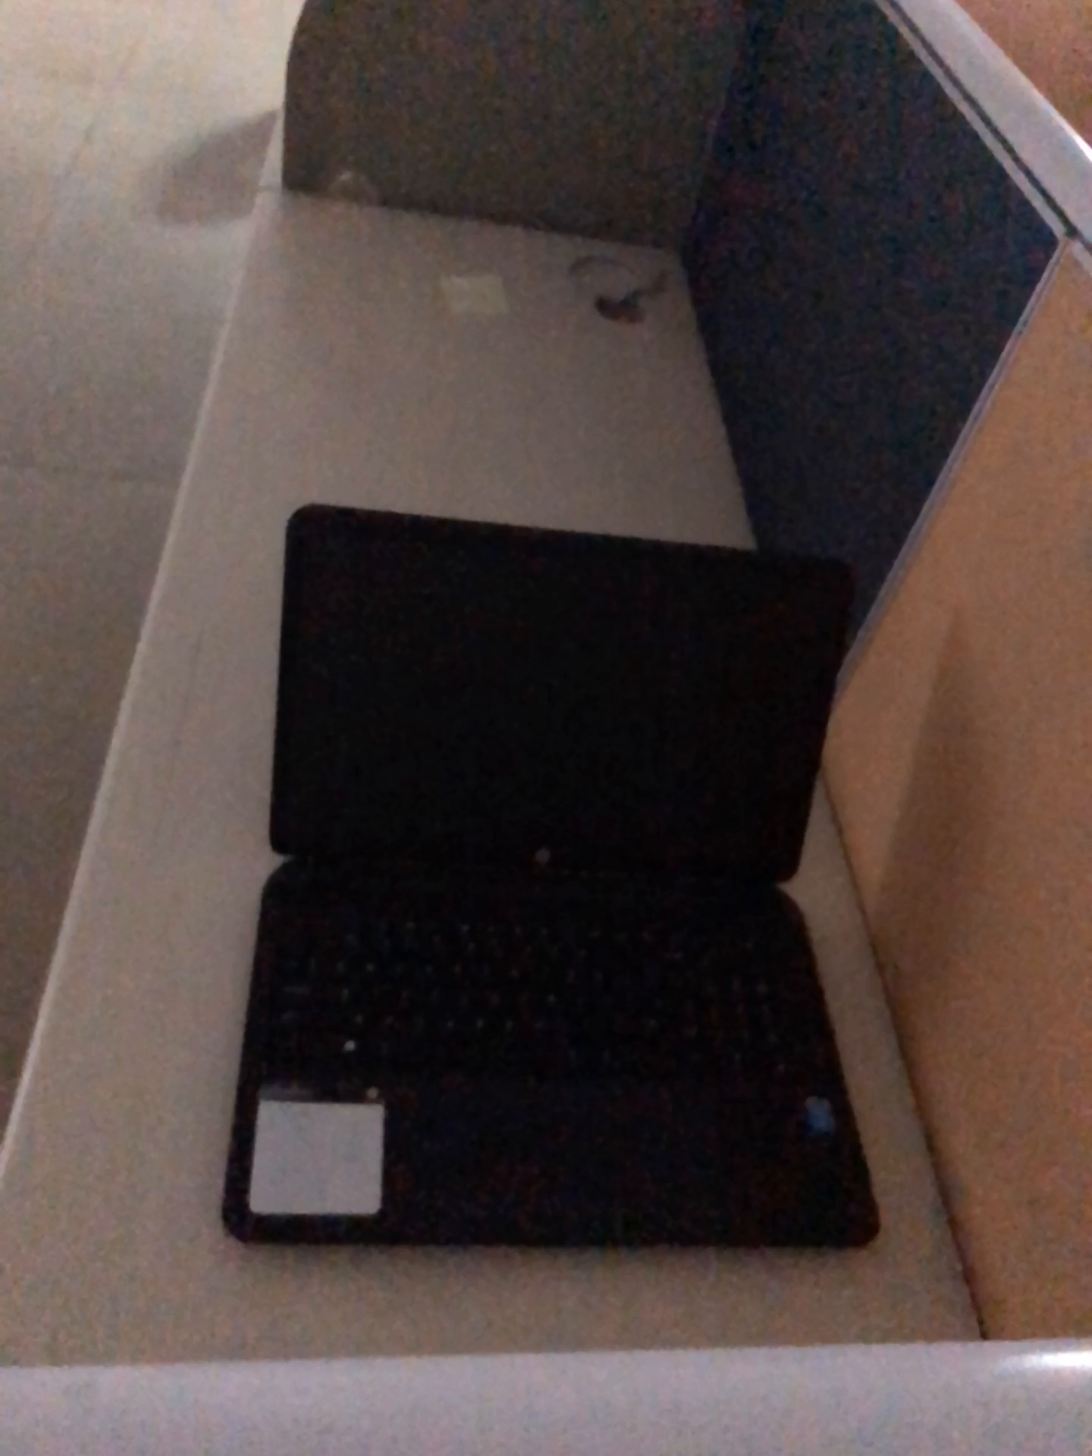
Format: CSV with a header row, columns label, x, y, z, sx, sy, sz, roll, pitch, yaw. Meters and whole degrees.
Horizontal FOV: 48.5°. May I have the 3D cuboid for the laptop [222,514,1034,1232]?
label,x,y,z,sx,sy,sz,roll,pitch,yaw
laptop,0.016,0.078,0.716,0.355,0.205,0.353,5,45,-9
